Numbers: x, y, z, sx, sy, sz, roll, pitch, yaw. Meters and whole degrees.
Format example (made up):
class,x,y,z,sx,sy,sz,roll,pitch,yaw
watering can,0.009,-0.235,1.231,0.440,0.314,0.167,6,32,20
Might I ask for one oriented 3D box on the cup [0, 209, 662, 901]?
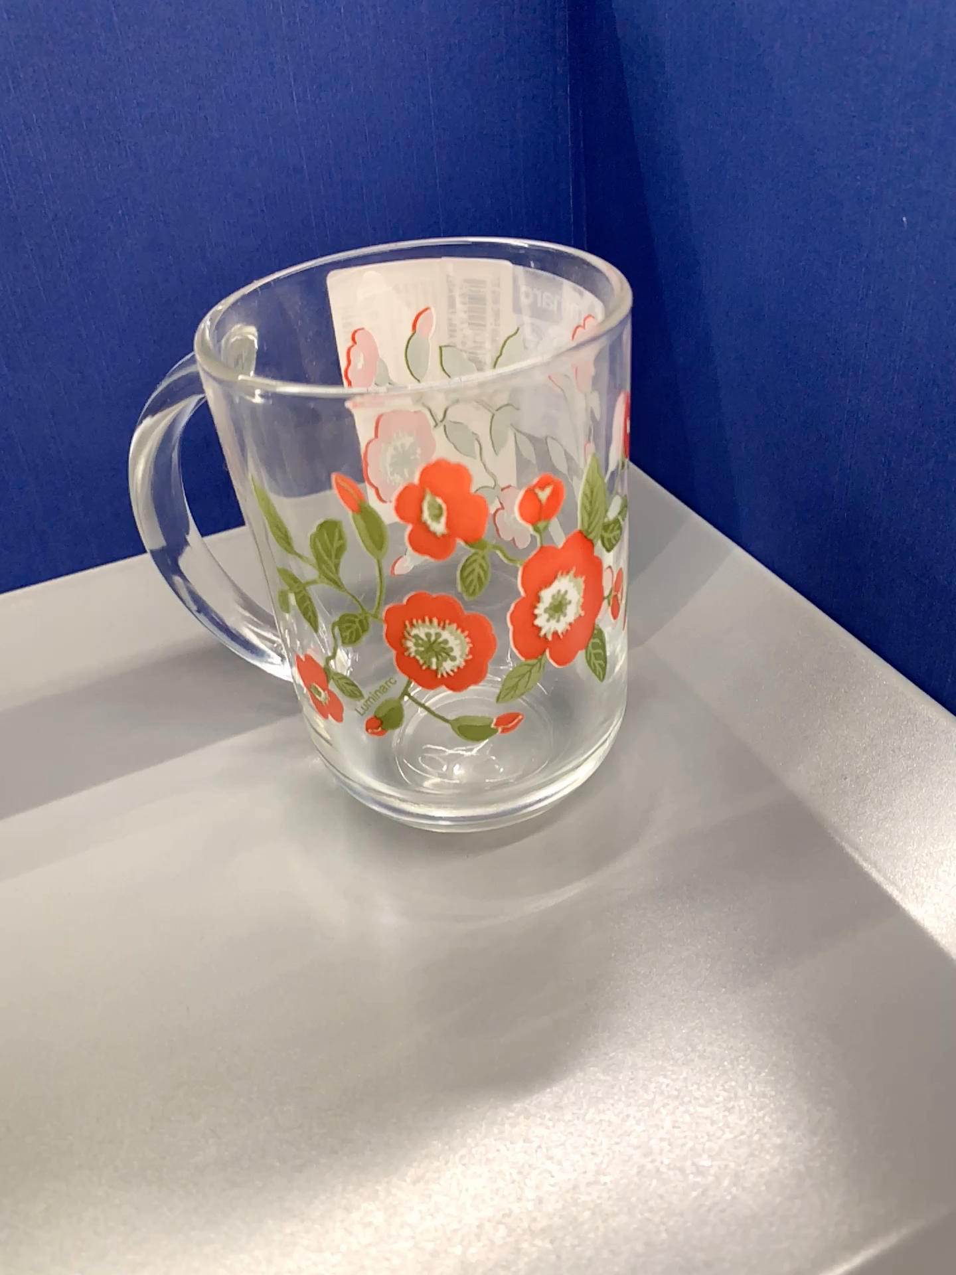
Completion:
class,x,y,z,sx,sy,sz,roll,pitch,yaw
cup,-0.025,-0.022,0.207,0.114,0.104,0.088,4,36,13
